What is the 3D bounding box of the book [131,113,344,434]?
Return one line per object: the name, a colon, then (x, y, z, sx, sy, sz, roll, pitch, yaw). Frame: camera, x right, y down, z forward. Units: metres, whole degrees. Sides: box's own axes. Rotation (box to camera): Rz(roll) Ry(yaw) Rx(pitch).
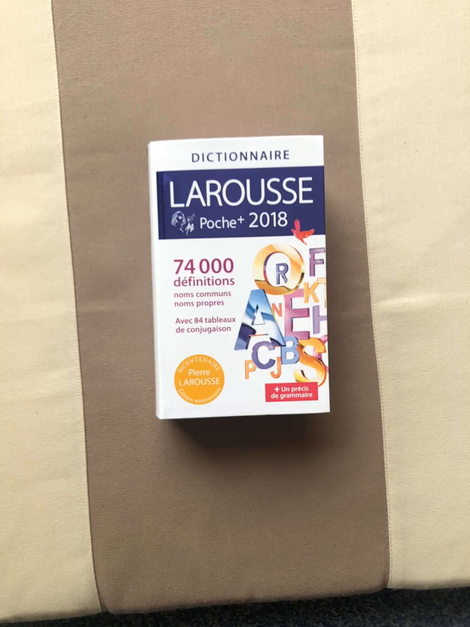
book: (0.001, -0.026, 0.361, 0.130, 0.060, 0.200, -2, 90, -3)
